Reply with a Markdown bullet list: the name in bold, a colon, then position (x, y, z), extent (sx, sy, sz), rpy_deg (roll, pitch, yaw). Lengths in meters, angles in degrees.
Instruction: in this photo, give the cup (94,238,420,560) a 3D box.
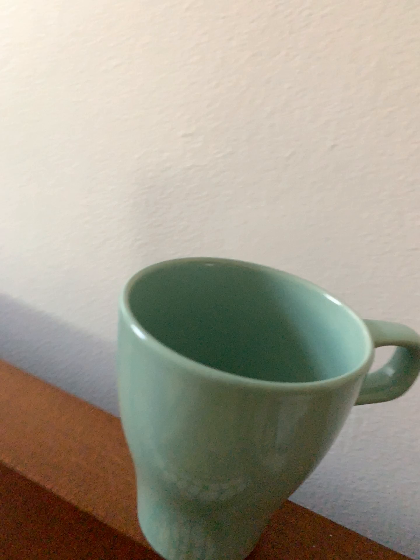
- **cup**: position (0.022, 0.048, 0.172), extent (0.123, 0.091, 0.082), rpy_deg (5, 27, -18)
